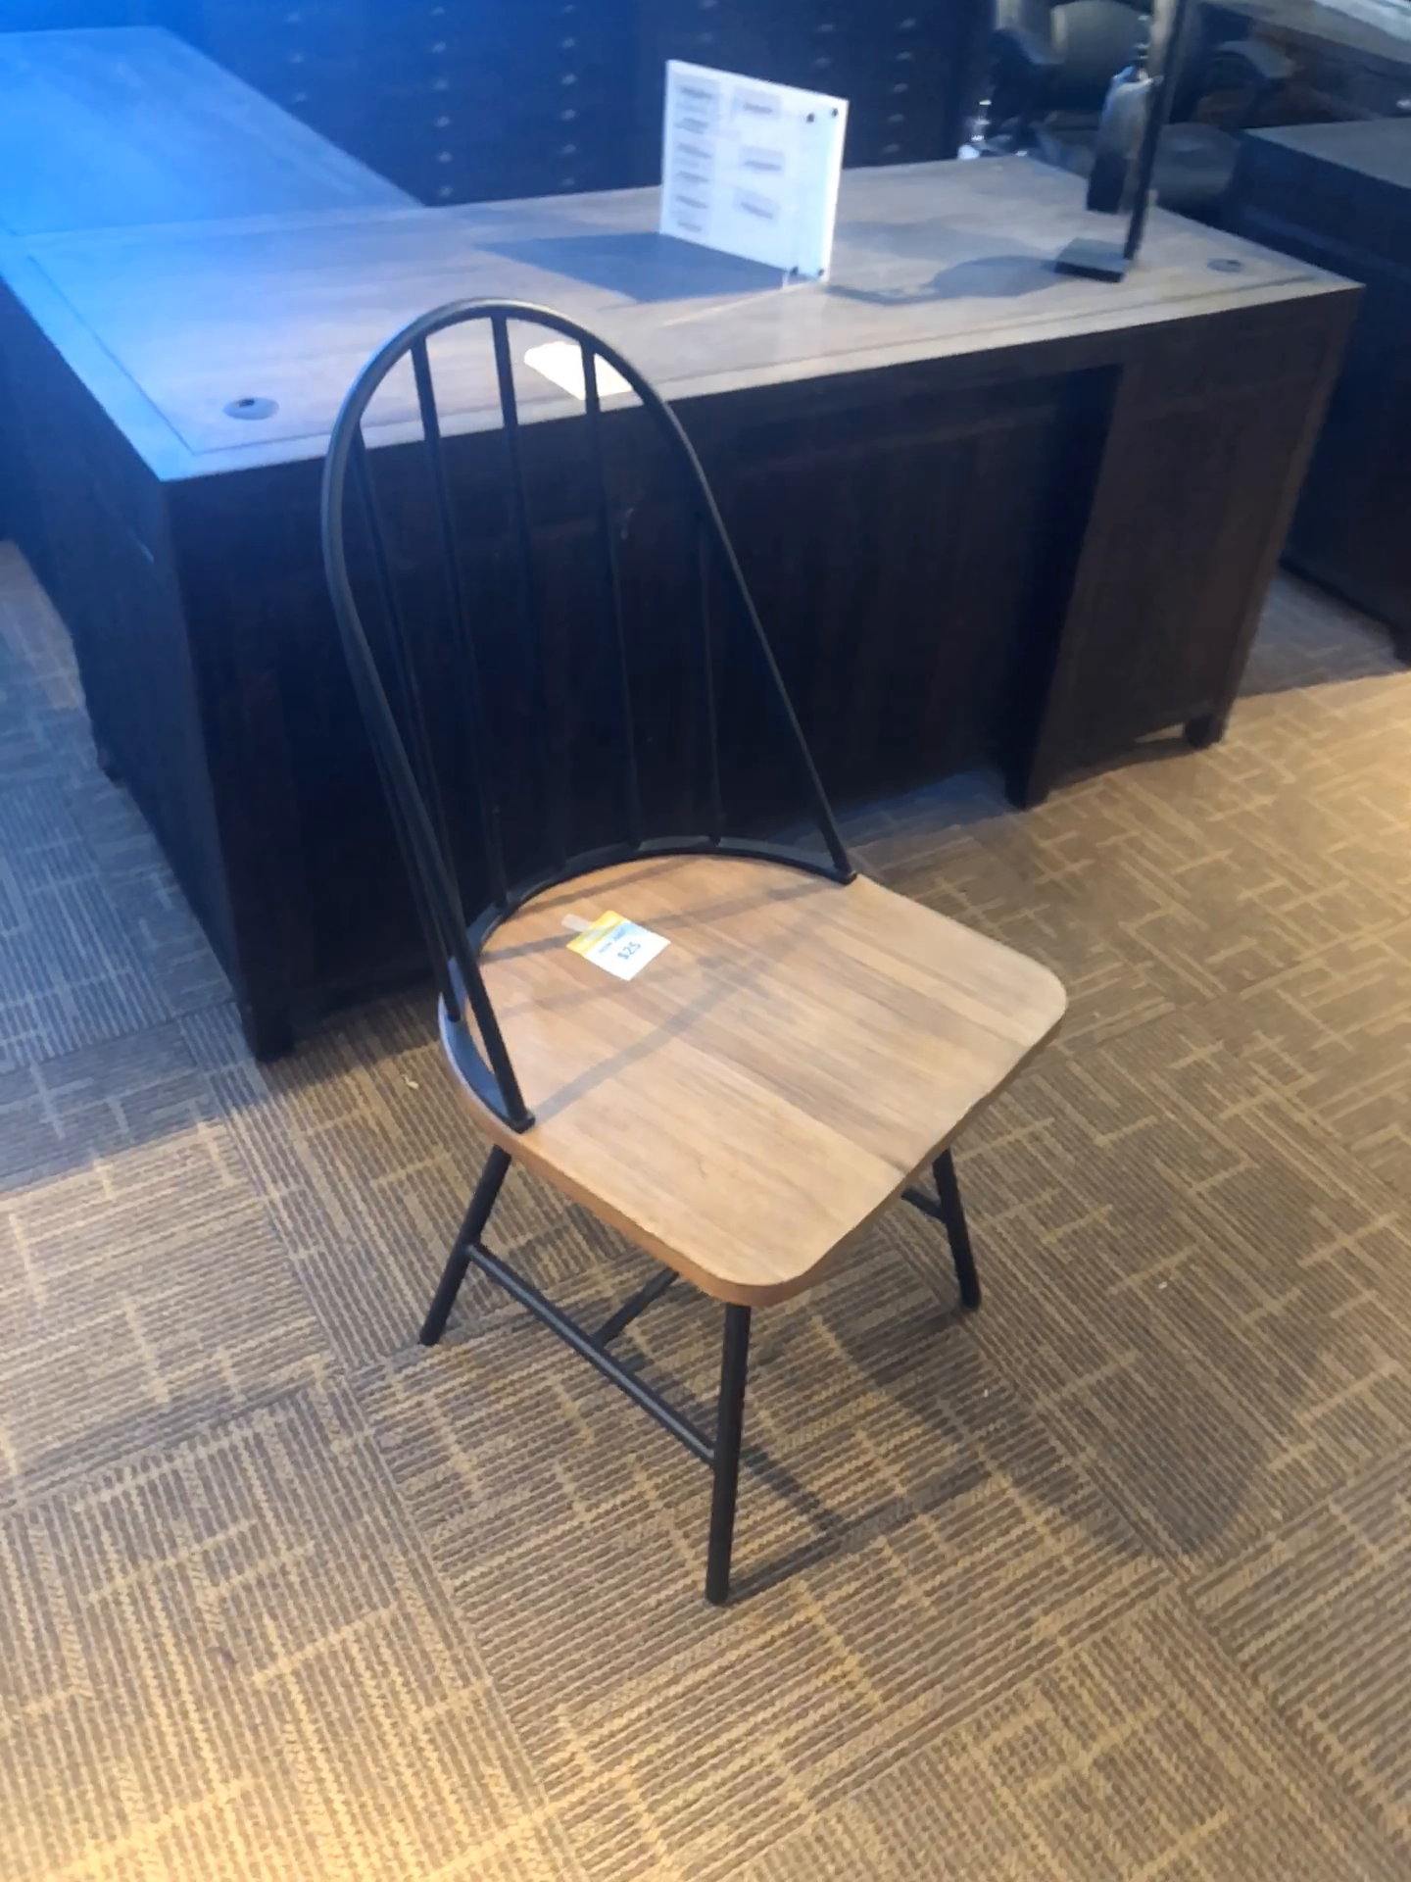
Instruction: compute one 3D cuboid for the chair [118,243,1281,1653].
[{"bbox_3d":[-0.027,0.006,1.344,0.599,0.930,0.515,30,45,27],"label":"chair"}]
